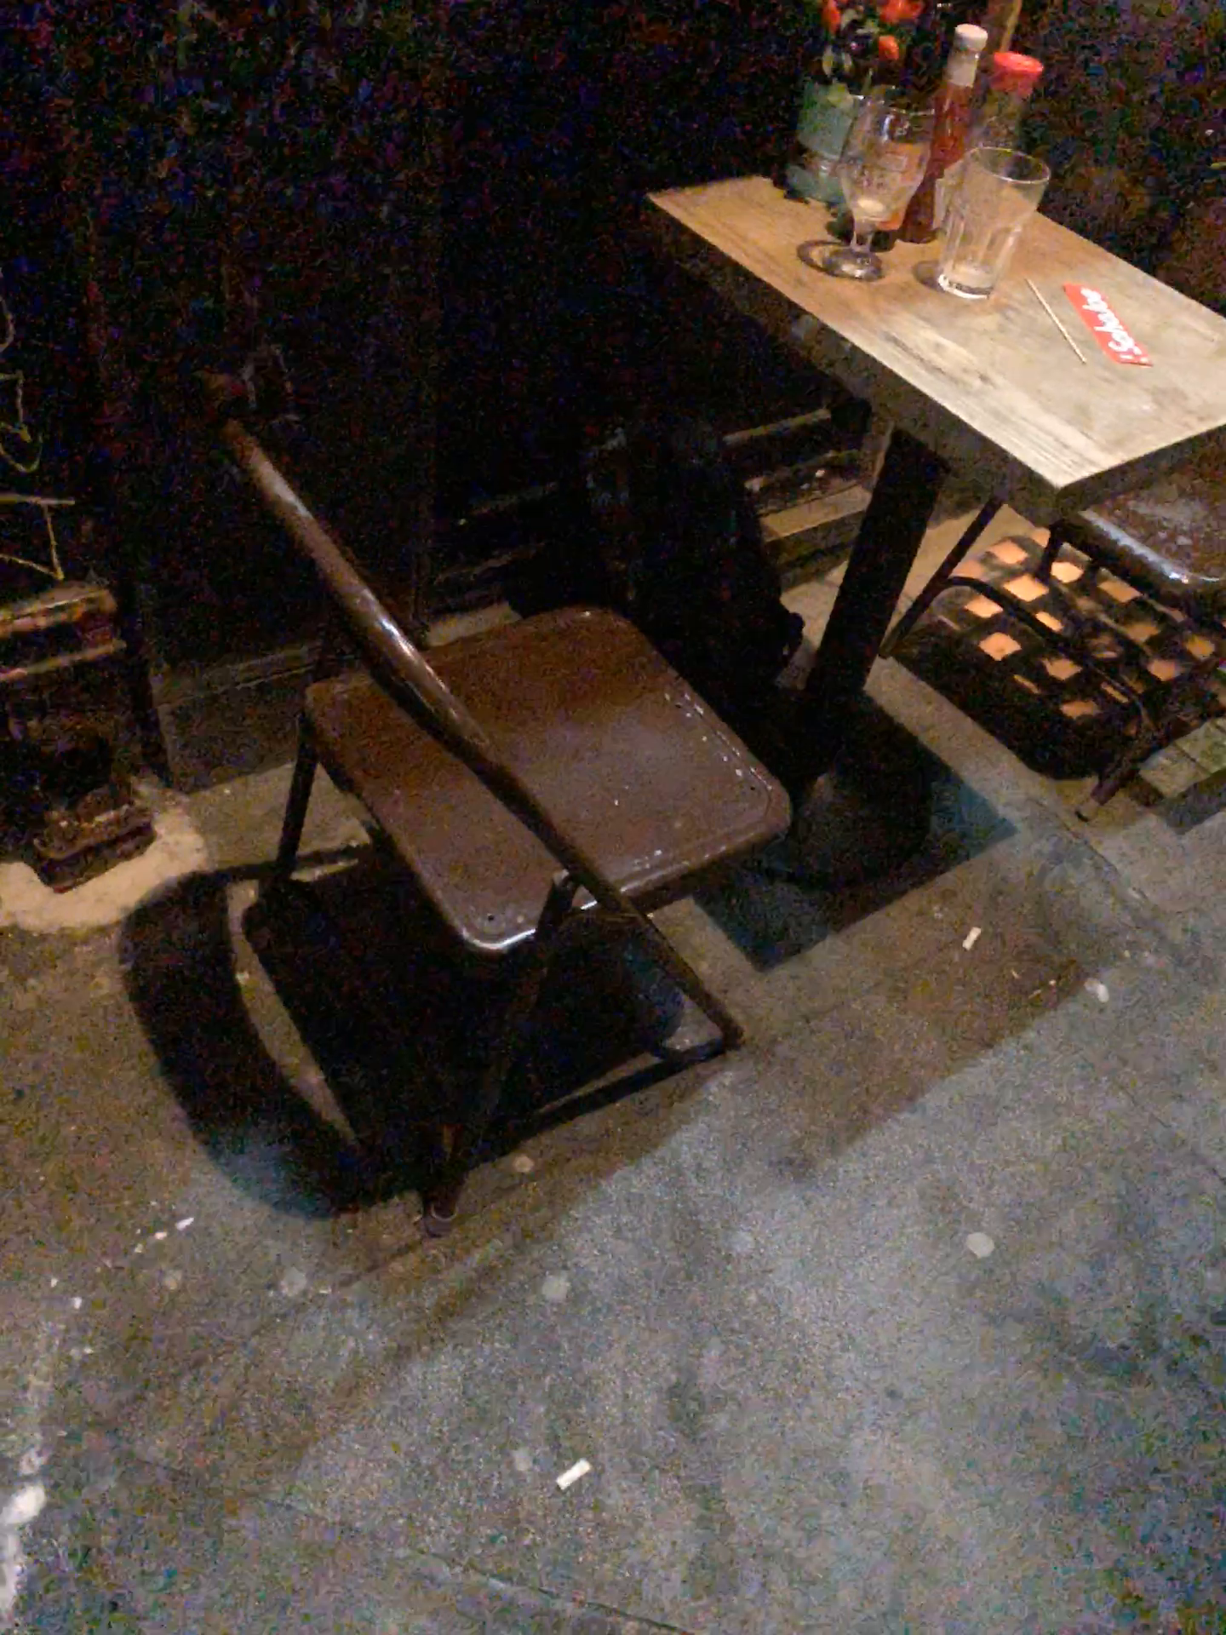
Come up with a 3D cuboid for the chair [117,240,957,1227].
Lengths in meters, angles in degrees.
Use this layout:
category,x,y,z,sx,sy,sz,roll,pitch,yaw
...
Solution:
category,x,y,z,sx,sy,sz,roll,pitch,yaw
chair,-0.114,-0.084,1.231,0.482,0.723,0.493,-21,51,-28
